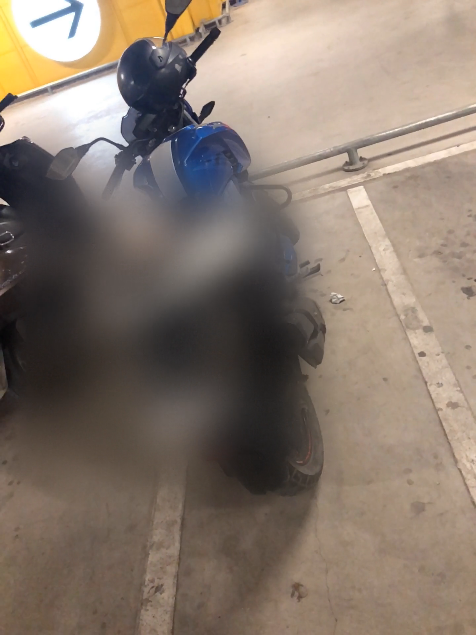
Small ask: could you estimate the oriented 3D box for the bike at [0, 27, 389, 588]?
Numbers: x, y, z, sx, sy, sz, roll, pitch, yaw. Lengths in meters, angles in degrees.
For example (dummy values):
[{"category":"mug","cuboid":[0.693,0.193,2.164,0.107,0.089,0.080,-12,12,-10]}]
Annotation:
[{"category":"bike","cuboid":[-0.233,-0.277,2.038,0.806,1.162,1.996,-18,34,6]}]
